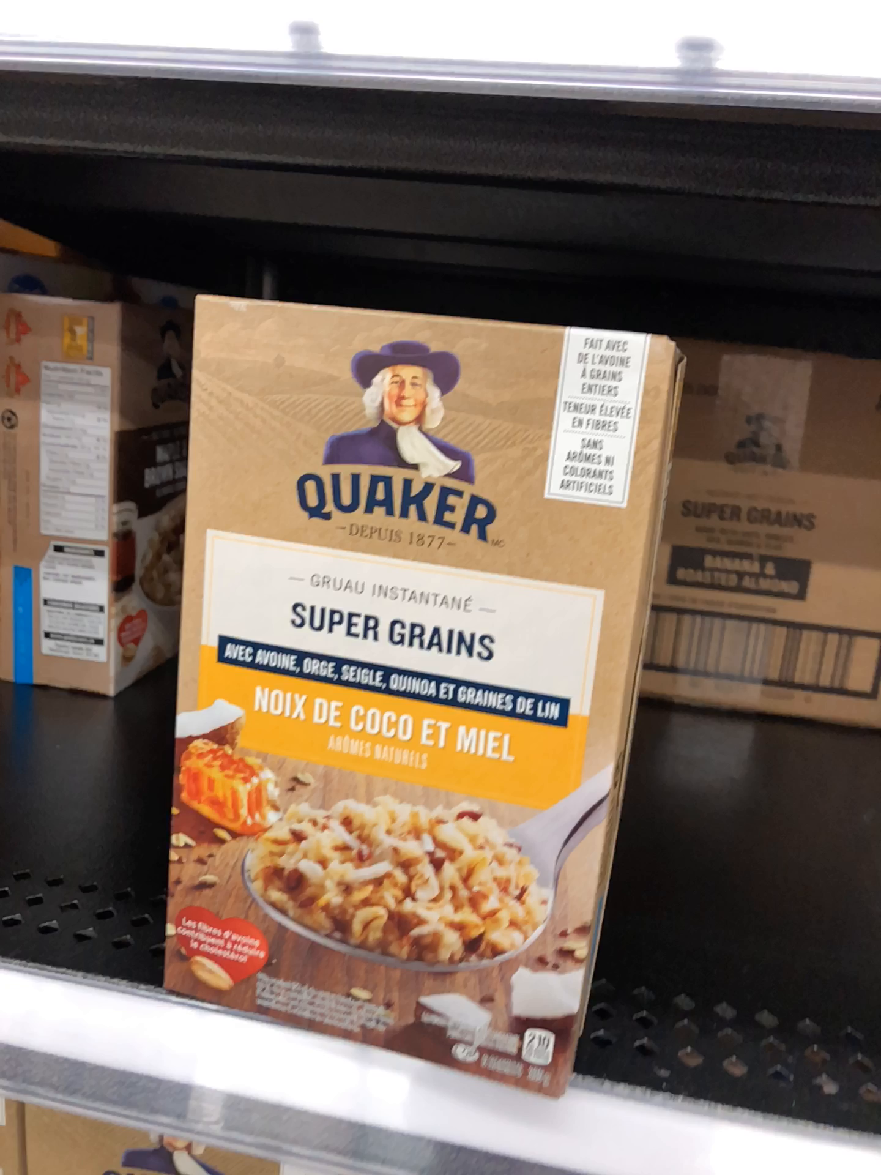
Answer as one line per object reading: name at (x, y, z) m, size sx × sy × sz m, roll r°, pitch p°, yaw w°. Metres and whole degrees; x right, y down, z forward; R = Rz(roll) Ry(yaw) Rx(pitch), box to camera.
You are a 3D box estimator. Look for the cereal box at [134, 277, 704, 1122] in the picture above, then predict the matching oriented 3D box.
cereal box at (-0.009, 0.025, 0.272) m, size 0.130 × 0.199 × 0.060 m, roll 8°, pitch 14°, yaw 13°
